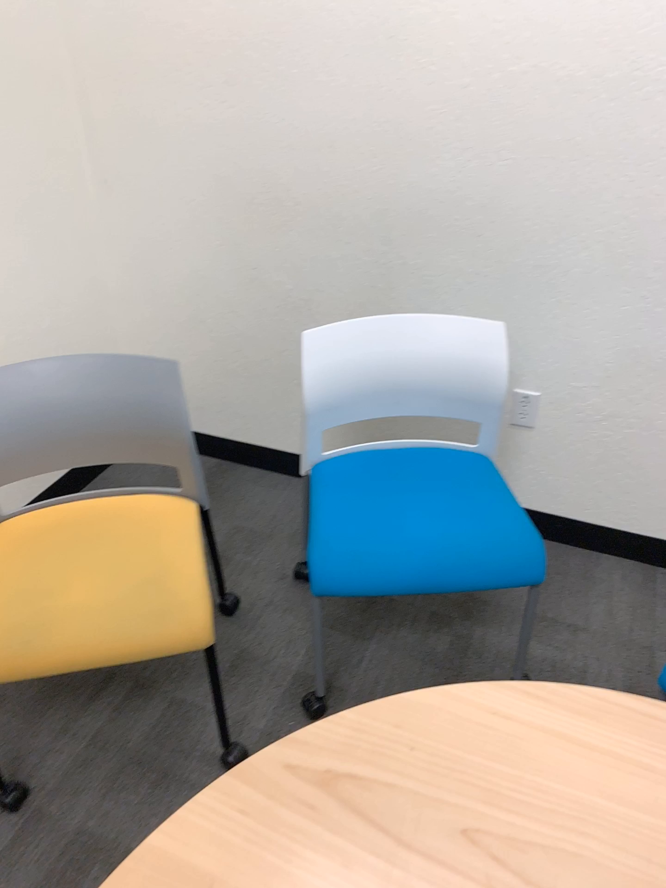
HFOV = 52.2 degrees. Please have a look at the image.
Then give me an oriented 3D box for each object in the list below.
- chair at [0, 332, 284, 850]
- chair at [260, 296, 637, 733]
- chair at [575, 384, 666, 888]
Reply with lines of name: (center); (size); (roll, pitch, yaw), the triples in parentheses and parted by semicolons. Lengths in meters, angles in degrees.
chair: (-0.484, 0.260, 1.449); (0.640, 0.716, 0.694); (-7, 33, -8)
chair: (0.189, 0.139, 1.640); (0.640, 0.756, 0.694); (-2, 33, -1)
chair: (1.007, 0.477, 1.144); (0.690, 0.766, 0.754); (-21, 37, -28)
